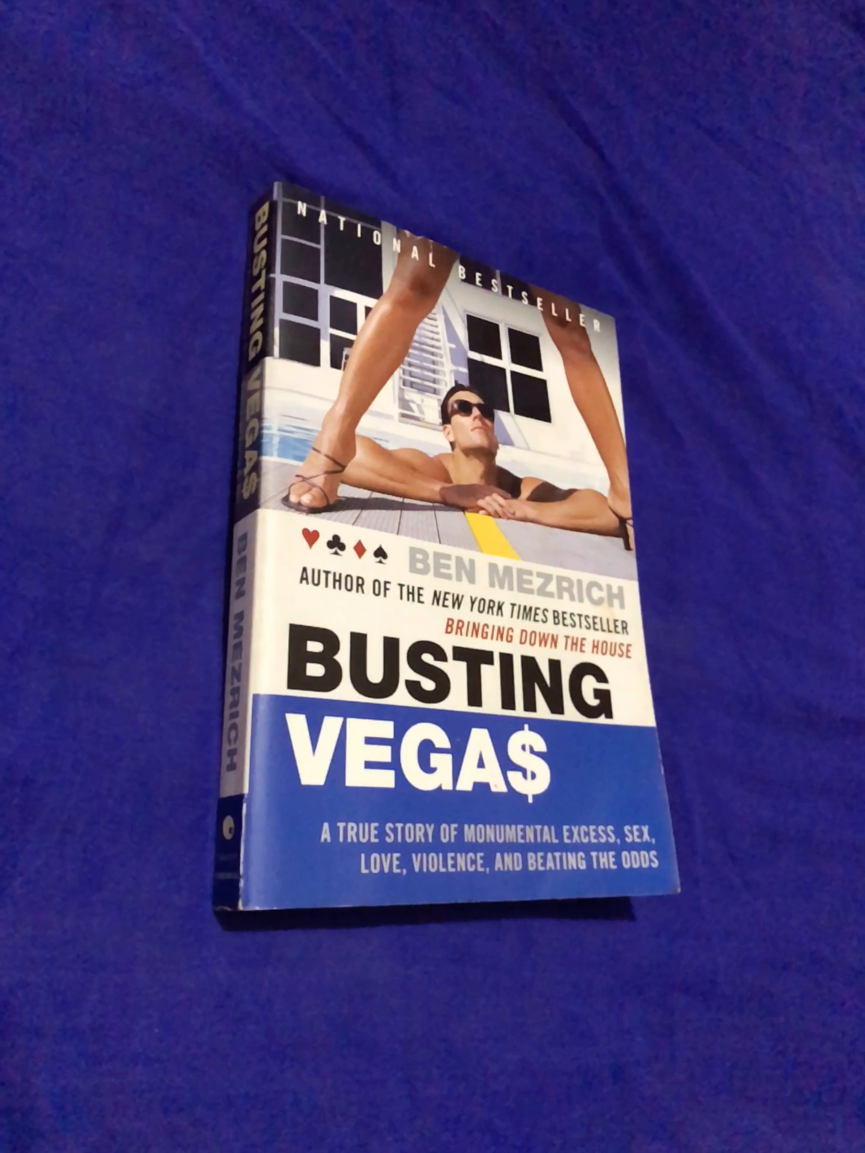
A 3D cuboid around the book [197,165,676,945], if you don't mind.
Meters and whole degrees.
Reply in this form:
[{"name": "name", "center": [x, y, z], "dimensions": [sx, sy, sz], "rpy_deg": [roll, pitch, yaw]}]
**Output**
[{"name": "book", "center": [0.003, -0.003, 0.296], "dimensions": [0.131, 0.040, 0.210], "rpy_deg": [10, 68, -32]}]
